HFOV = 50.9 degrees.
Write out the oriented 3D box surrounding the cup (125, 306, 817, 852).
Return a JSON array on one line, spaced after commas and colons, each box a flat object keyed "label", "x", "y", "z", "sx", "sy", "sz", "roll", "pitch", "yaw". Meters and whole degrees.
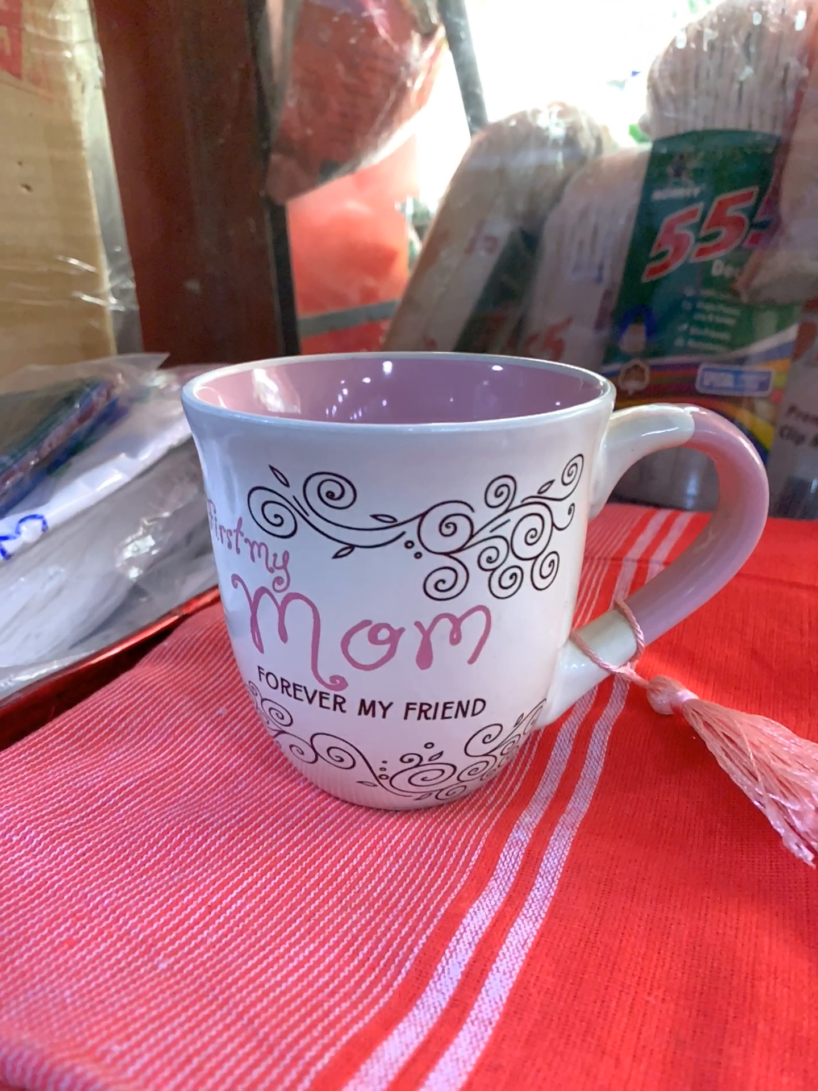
[{"label": "cup", "x": 0.011, "y": -0.005, "z": 0.189, "sx": 0.125, "sy": 0.075, "sz": 0.086, "roll": -8, "pitch": 22, "yaw": -13}]
